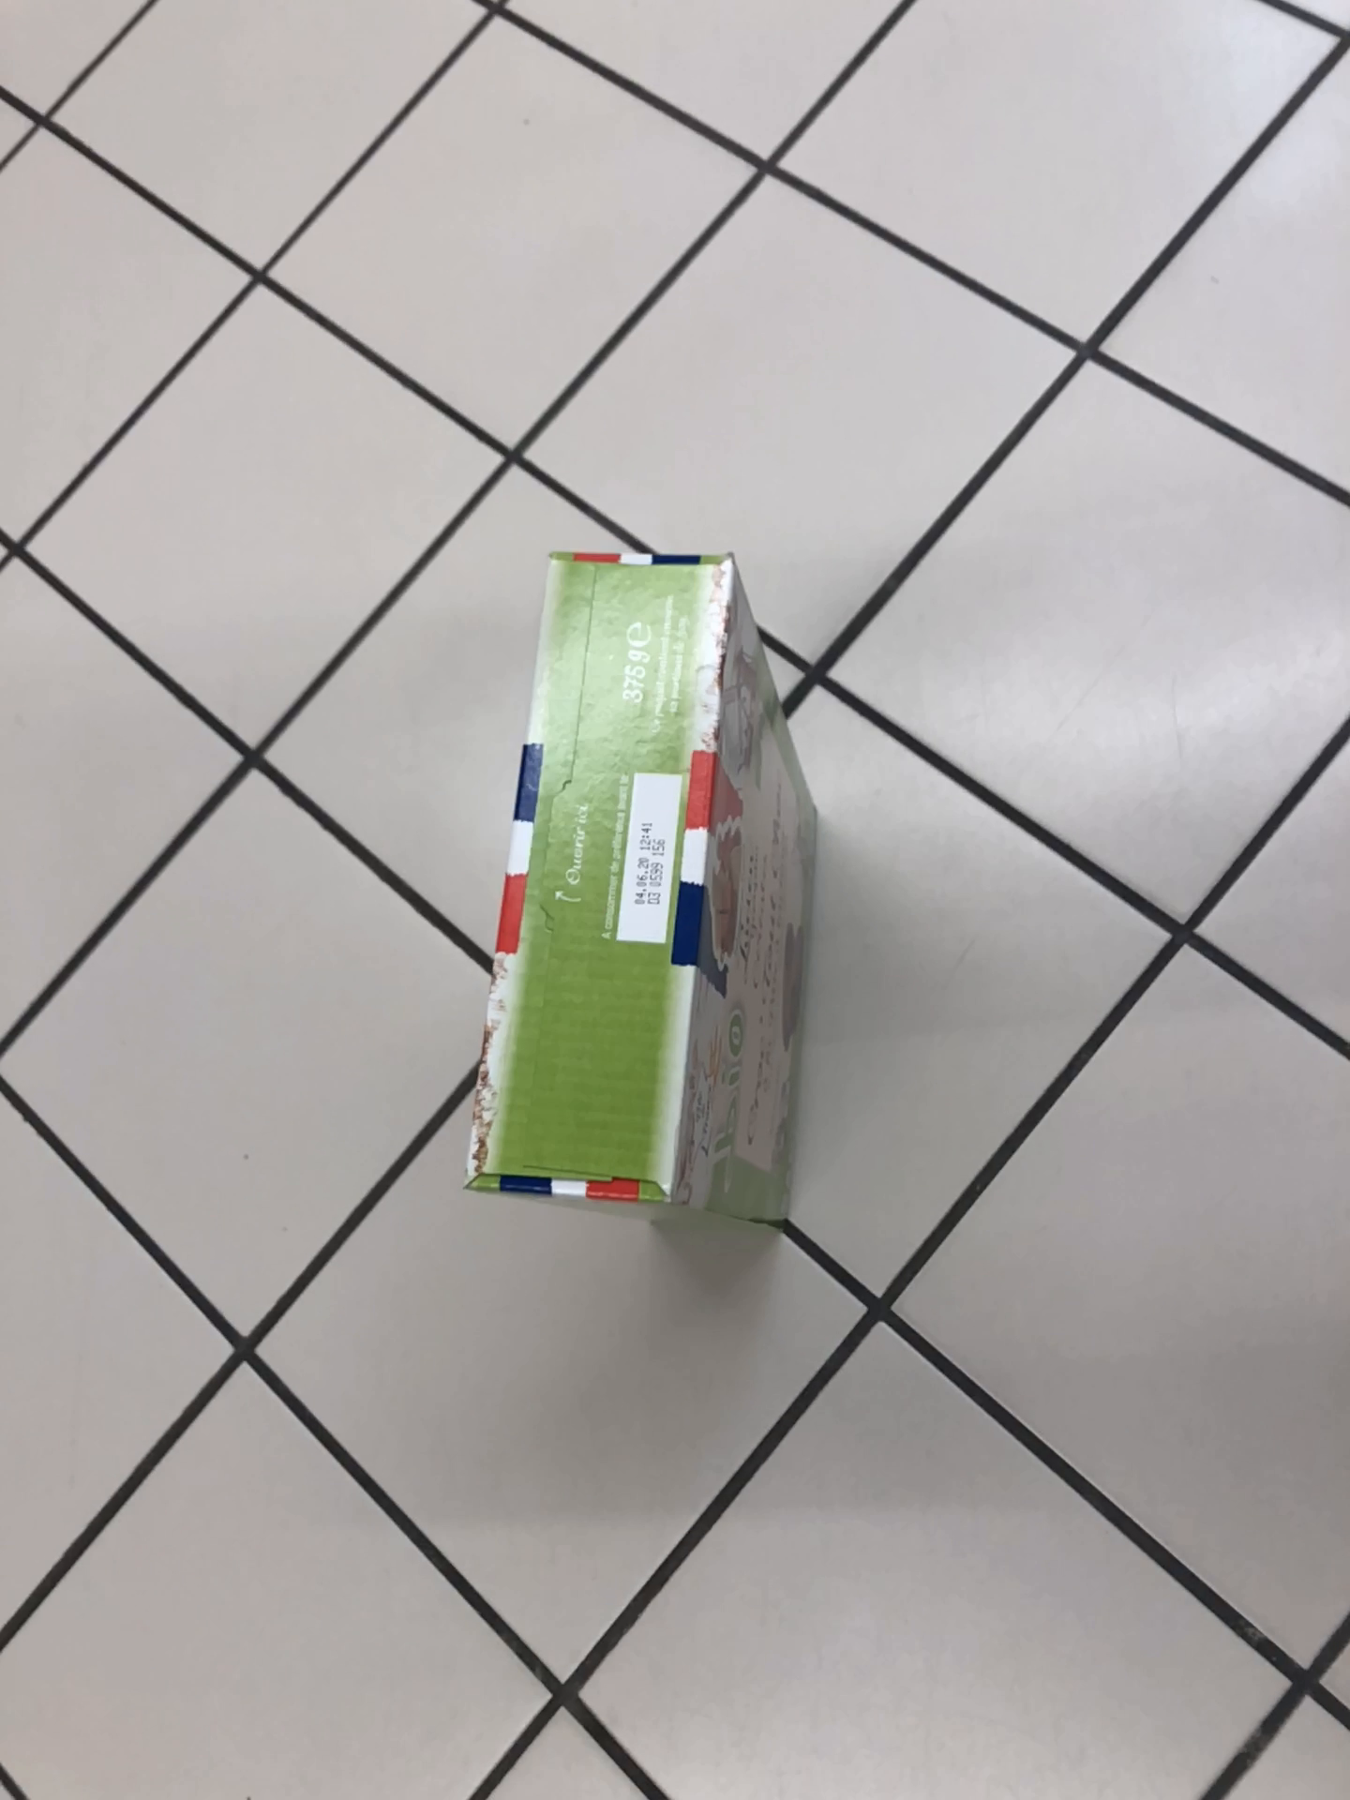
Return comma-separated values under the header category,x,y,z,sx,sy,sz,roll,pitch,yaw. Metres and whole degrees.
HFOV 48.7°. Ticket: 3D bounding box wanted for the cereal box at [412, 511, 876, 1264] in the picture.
category,x,y,z,sx,sy,sz,roll,pitch,yaw
cereal box,0.009,0.016,0.516,0.080,0.240,0.200,3,76,14
